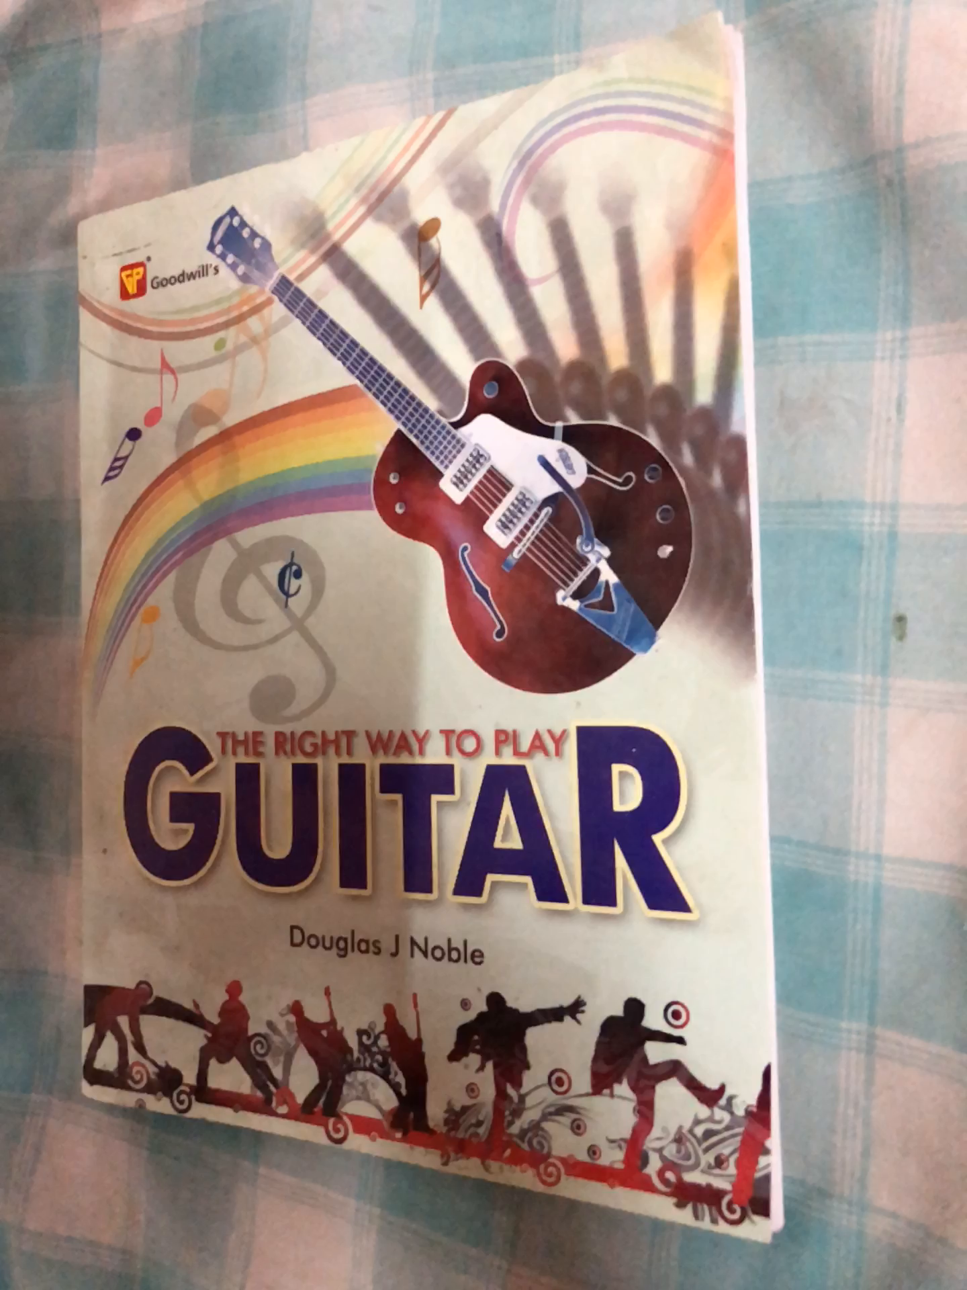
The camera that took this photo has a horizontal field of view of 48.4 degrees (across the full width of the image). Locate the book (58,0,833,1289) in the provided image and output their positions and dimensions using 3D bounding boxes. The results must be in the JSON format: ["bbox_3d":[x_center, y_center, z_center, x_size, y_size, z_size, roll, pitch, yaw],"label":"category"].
[{"bbox_3d":[-0.020,-0.004,0.246,0.180,0.030,0.240,-2,86,27],"label":"book"}]
